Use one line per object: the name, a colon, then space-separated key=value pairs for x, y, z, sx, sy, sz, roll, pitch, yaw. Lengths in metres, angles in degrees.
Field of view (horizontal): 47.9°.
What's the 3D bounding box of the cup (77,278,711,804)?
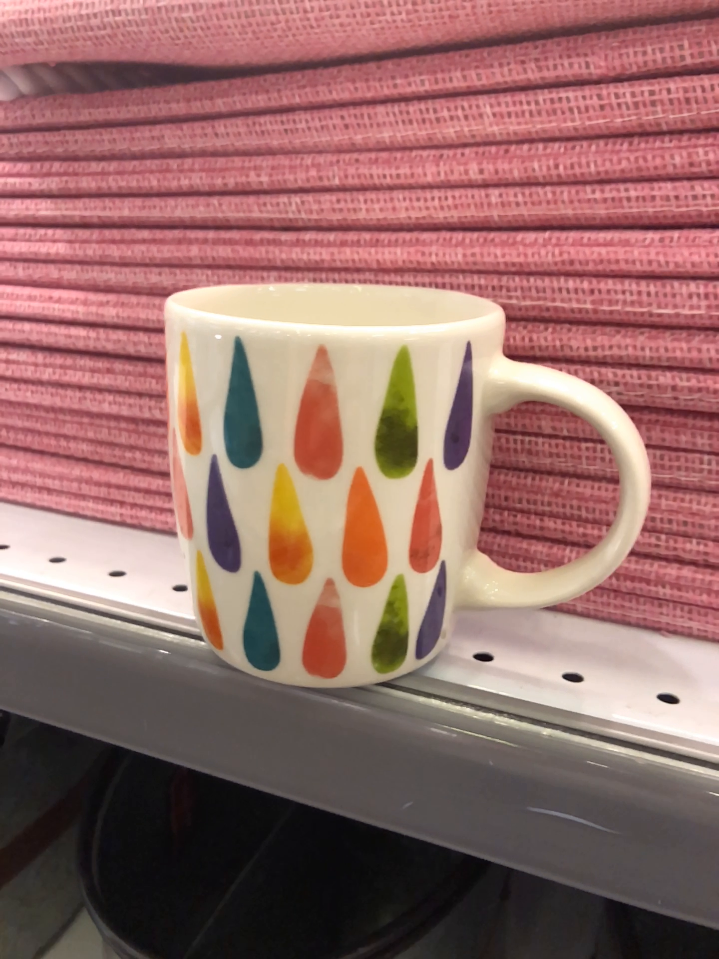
cup: x=0.012 y=0.001 z=0.212 sx=0.130 sy=0.089 sz=0.090 roll=9 pitch=19 yaw=19
